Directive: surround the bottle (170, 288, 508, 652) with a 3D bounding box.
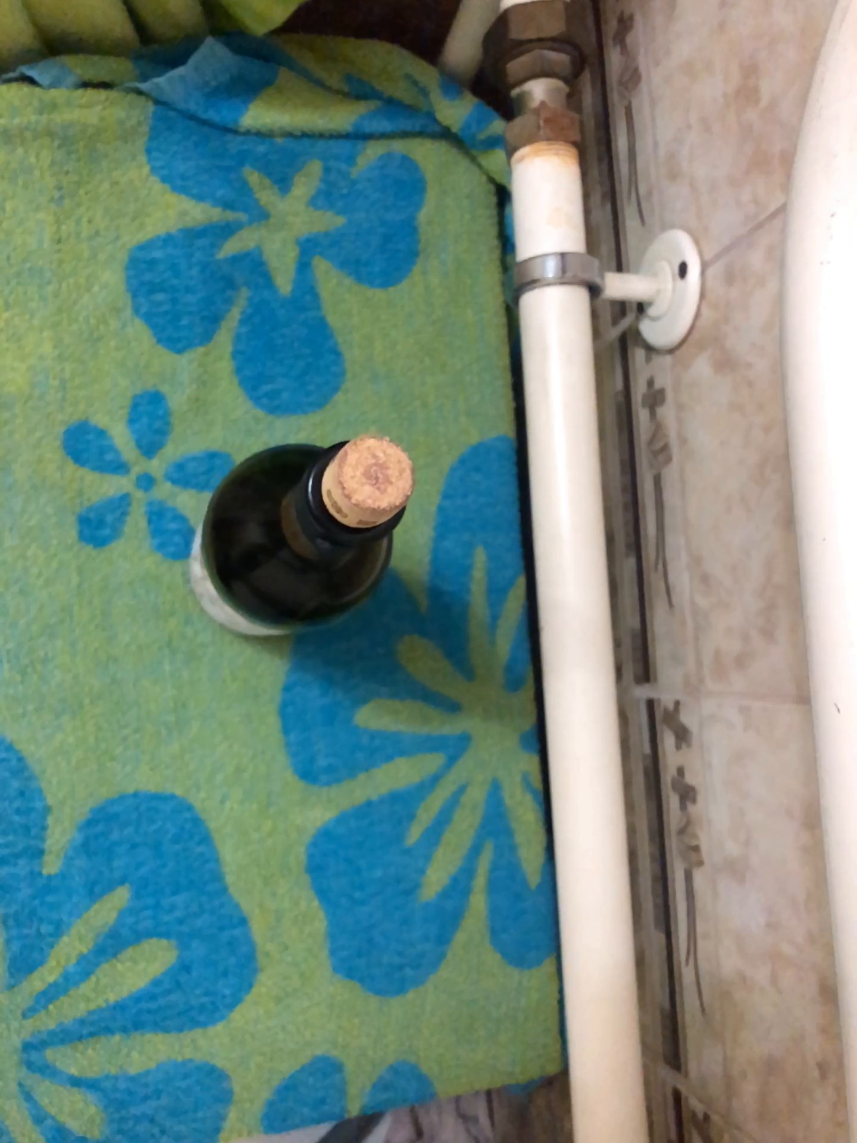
[{"bbox_3d":[-0.059,-0.011,0.387,0.080,0.320,0.080,1,84,-14],"label":"bottle"}]
